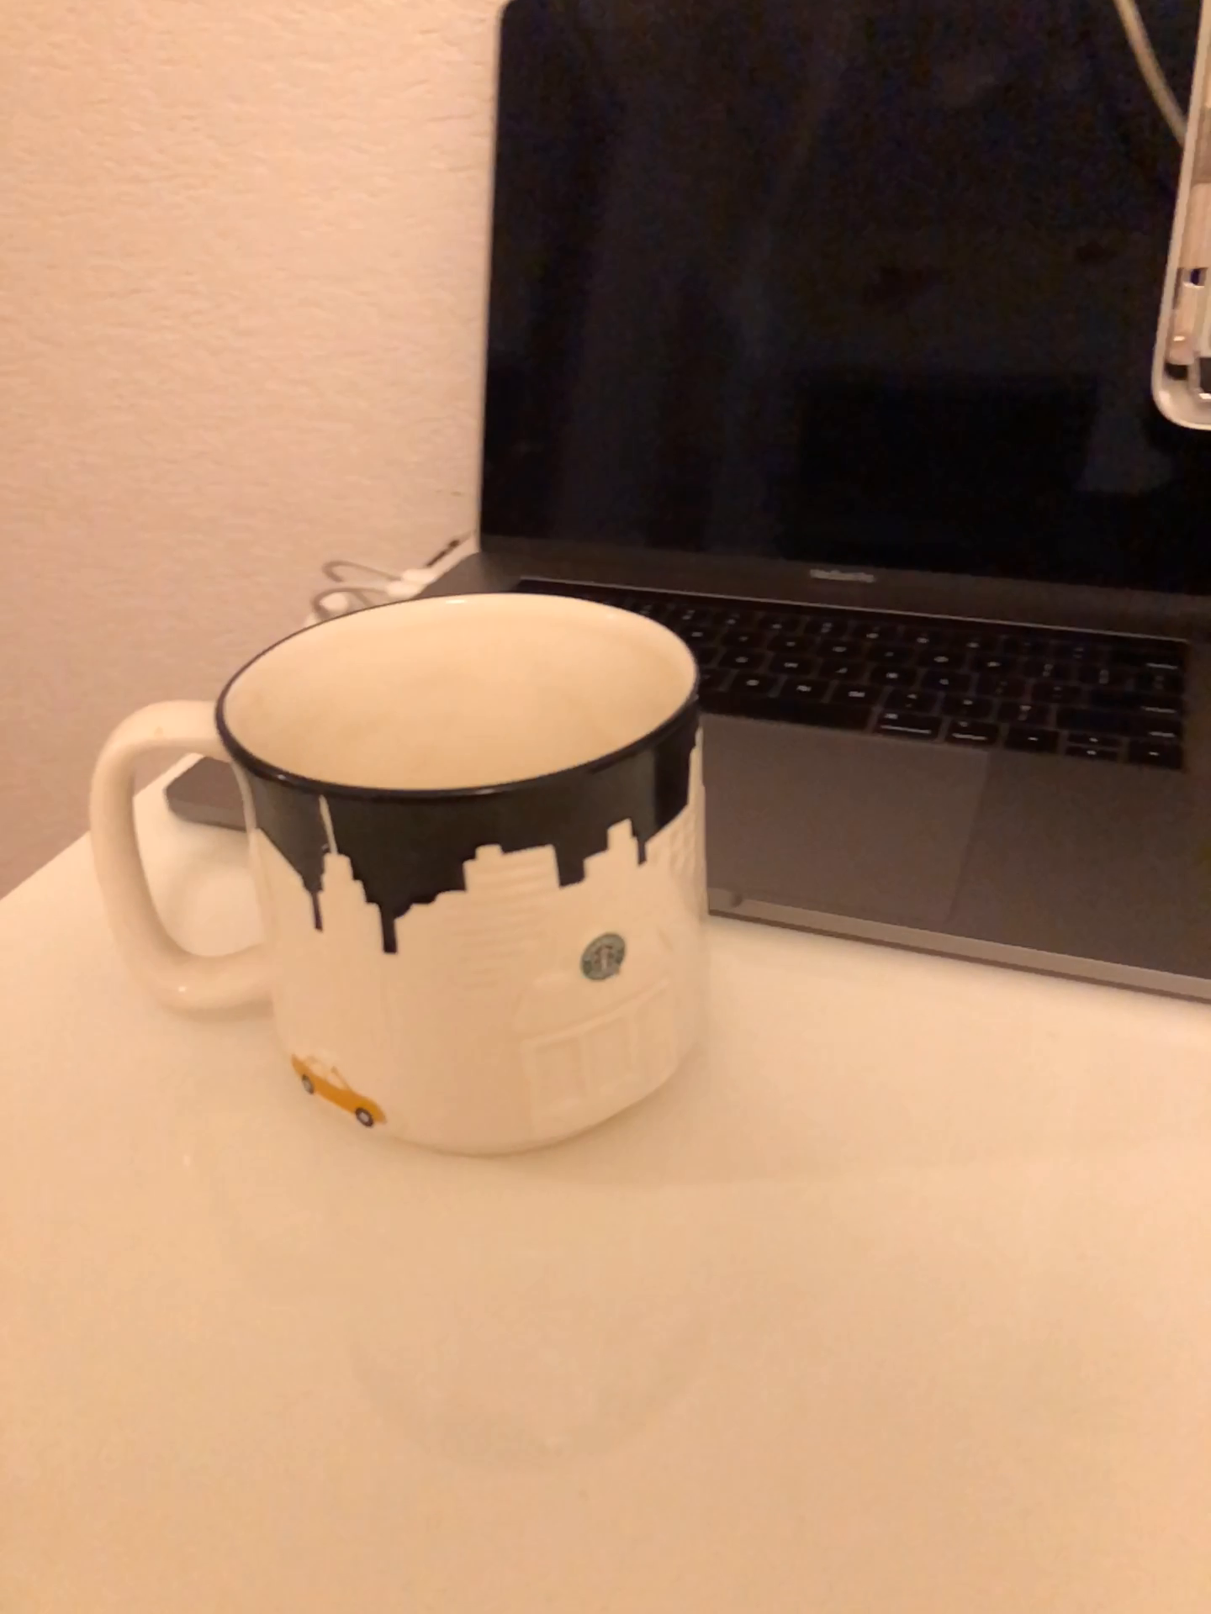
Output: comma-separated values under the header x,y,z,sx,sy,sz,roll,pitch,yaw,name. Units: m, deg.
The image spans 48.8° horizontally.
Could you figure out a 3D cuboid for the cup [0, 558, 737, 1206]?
x,y,z,sx,sy,sz,roll,pitch,yaw,name
-0.049,0.013,0.313,0.150,0.099,0.111,-3,30,2,cup
